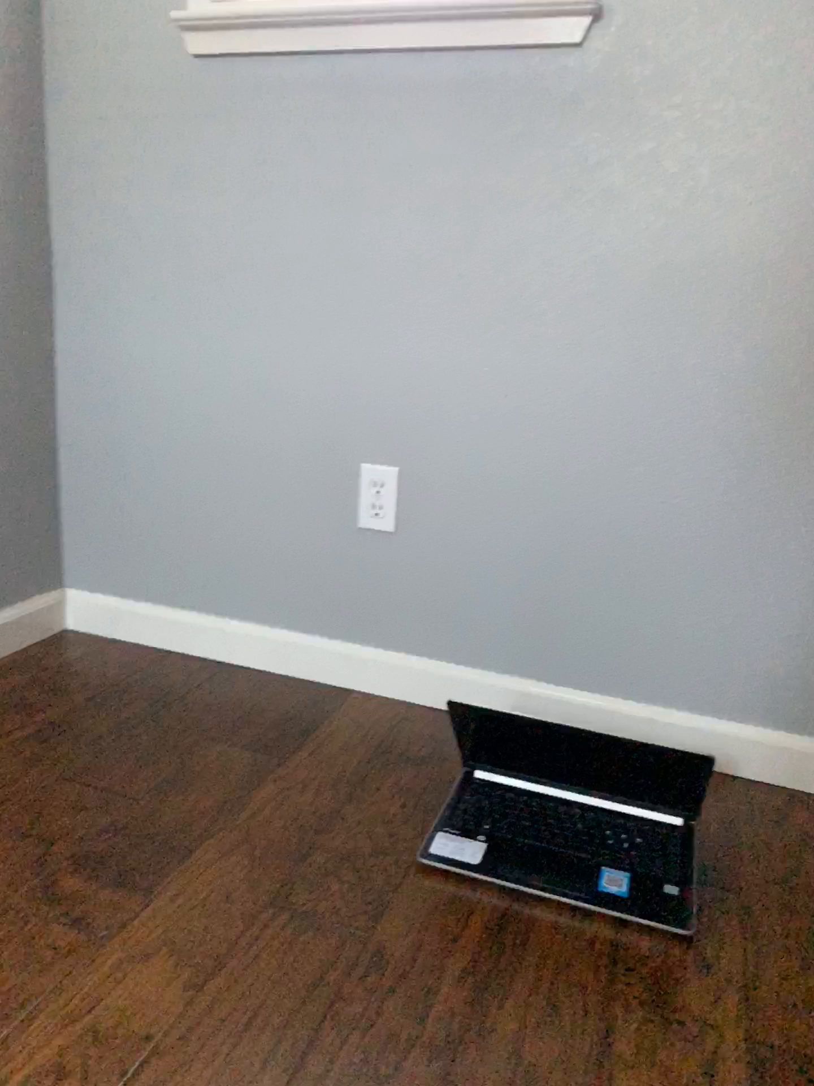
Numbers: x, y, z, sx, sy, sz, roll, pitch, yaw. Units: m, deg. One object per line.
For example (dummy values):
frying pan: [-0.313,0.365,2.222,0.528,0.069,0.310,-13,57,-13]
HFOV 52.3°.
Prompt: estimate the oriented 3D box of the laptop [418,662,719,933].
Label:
laptop: [0.202,0.295,1.031,0.317,0.169,0.220,8,15,17]
